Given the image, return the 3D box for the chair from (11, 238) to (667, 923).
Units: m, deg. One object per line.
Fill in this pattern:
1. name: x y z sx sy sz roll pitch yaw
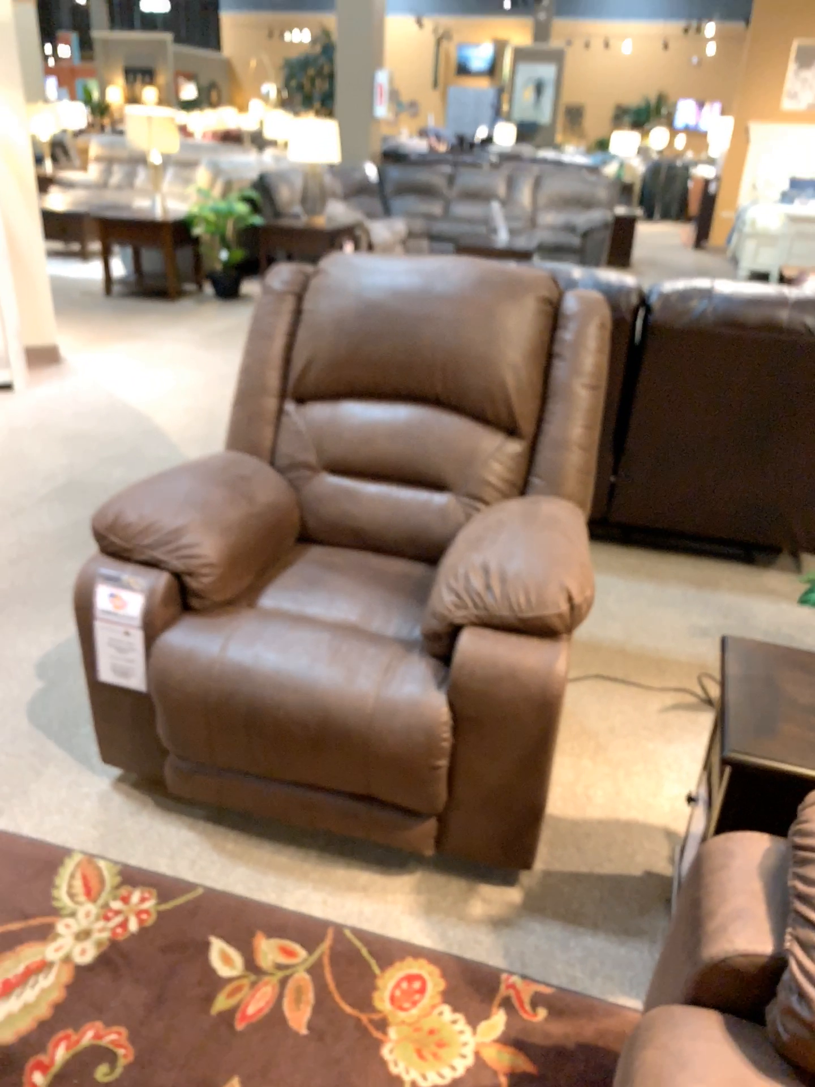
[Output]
1. chair: -0.035 -0.061 1.941 1.001 1.027 1.069 11 27 15
